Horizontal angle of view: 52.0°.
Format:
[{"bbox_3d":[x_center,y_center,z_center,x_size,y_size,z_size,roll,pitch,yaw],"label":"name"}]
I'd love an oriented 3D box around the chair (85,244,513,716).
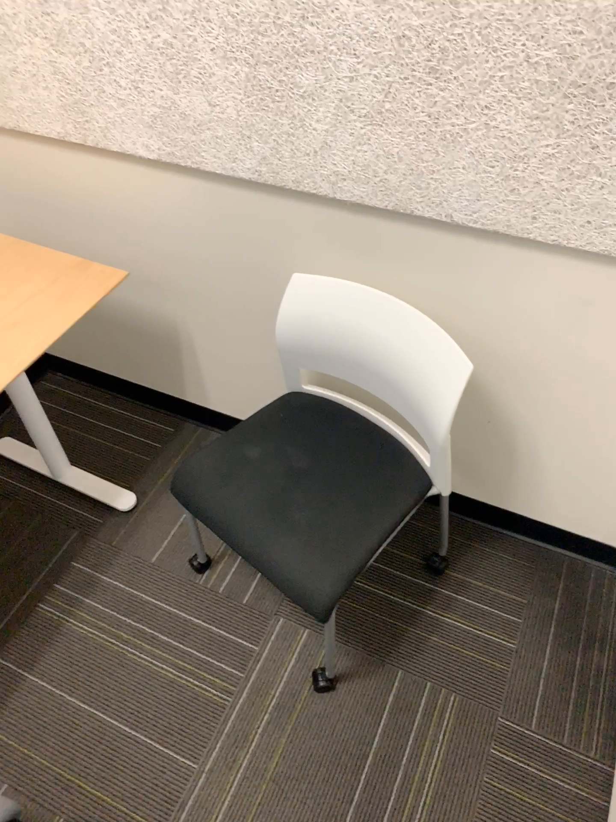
[{"bbox_3d":[-0.006,0.160,1.444,0.582,0.736,0.541,33,57,28],"label":"chair"}]
